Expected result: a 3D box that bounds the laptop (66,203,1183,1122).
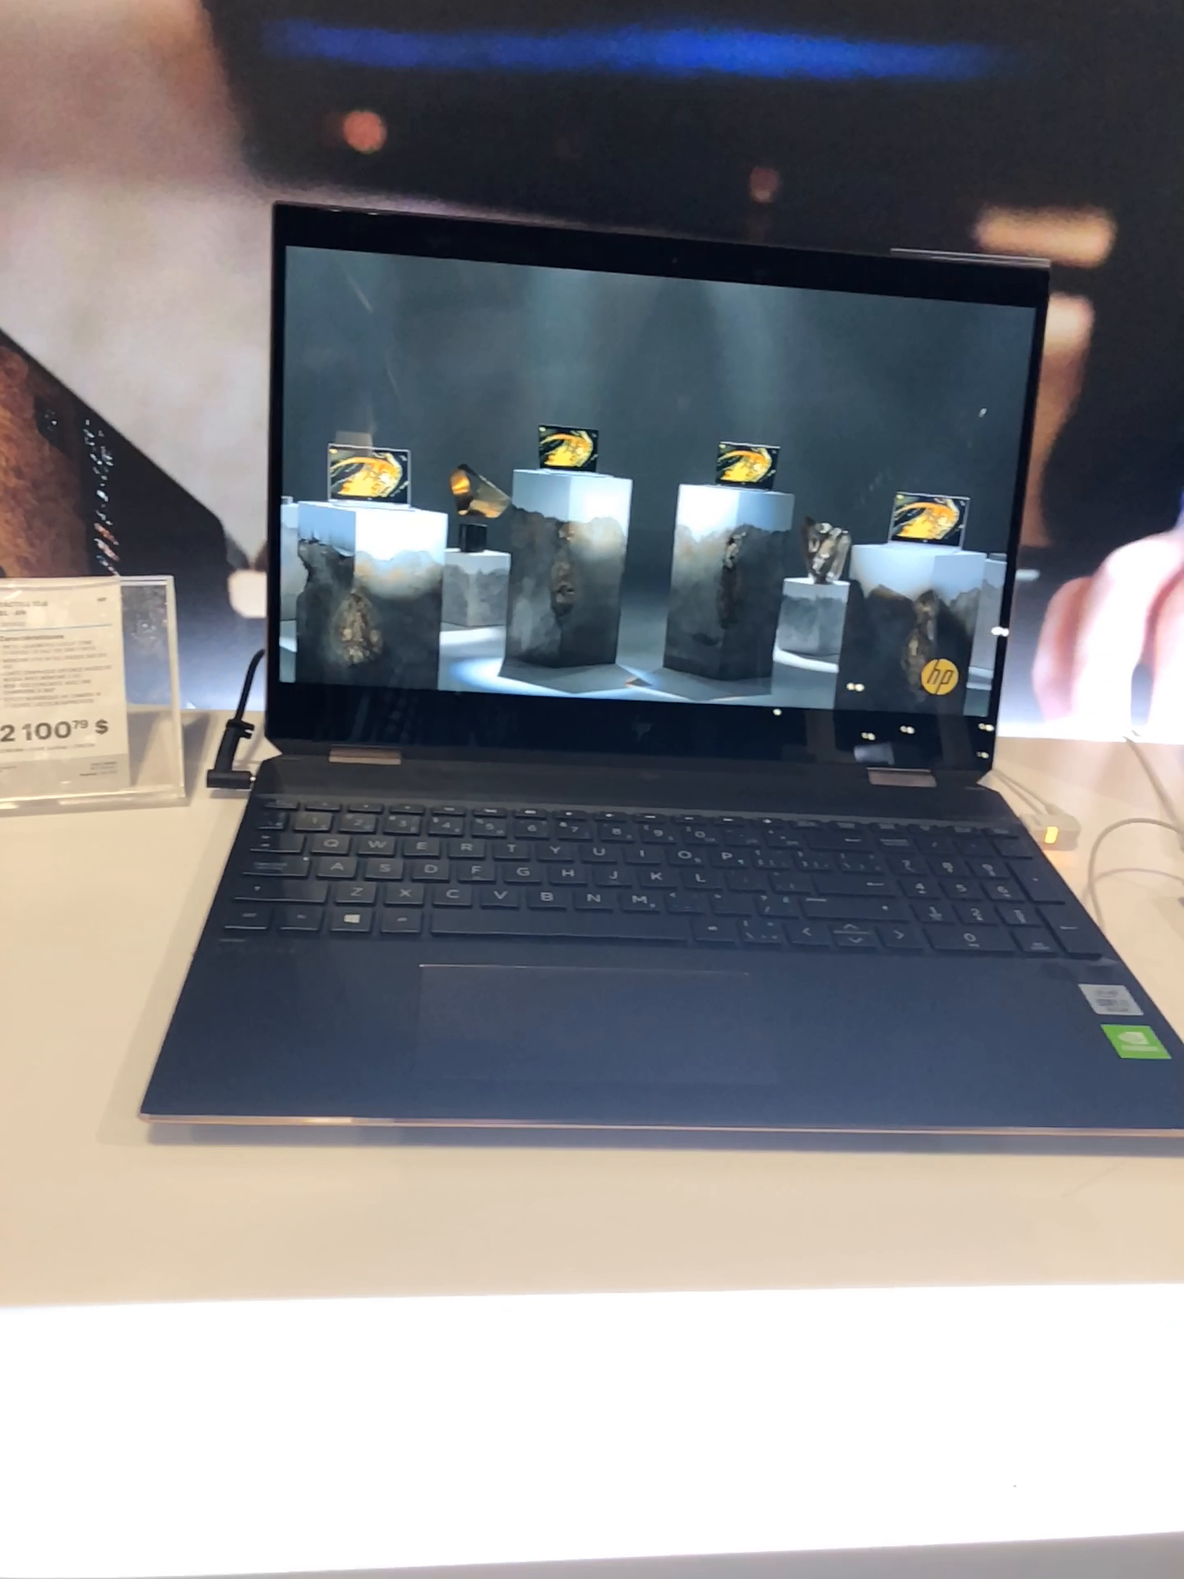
[{"bbox_3d":[0.027,-0.072,0.496,0.332,0.226,0.323,3,26,-8],"label":"laptop"}]
